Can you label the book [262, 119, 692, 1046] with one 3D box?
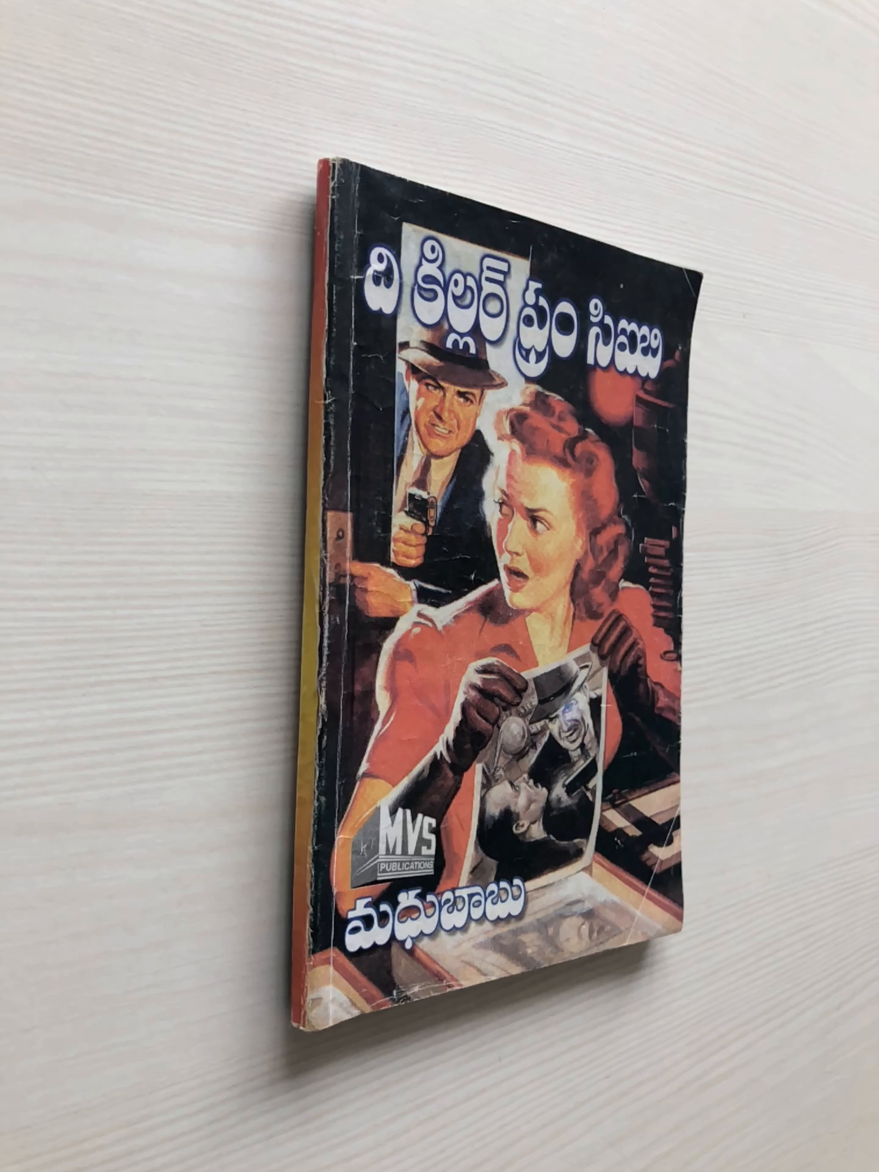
[{"bbox_3d":[0.014,0.000,0.204,0.100,0.012,0.160,4,85,-36],"label":"book"}]
